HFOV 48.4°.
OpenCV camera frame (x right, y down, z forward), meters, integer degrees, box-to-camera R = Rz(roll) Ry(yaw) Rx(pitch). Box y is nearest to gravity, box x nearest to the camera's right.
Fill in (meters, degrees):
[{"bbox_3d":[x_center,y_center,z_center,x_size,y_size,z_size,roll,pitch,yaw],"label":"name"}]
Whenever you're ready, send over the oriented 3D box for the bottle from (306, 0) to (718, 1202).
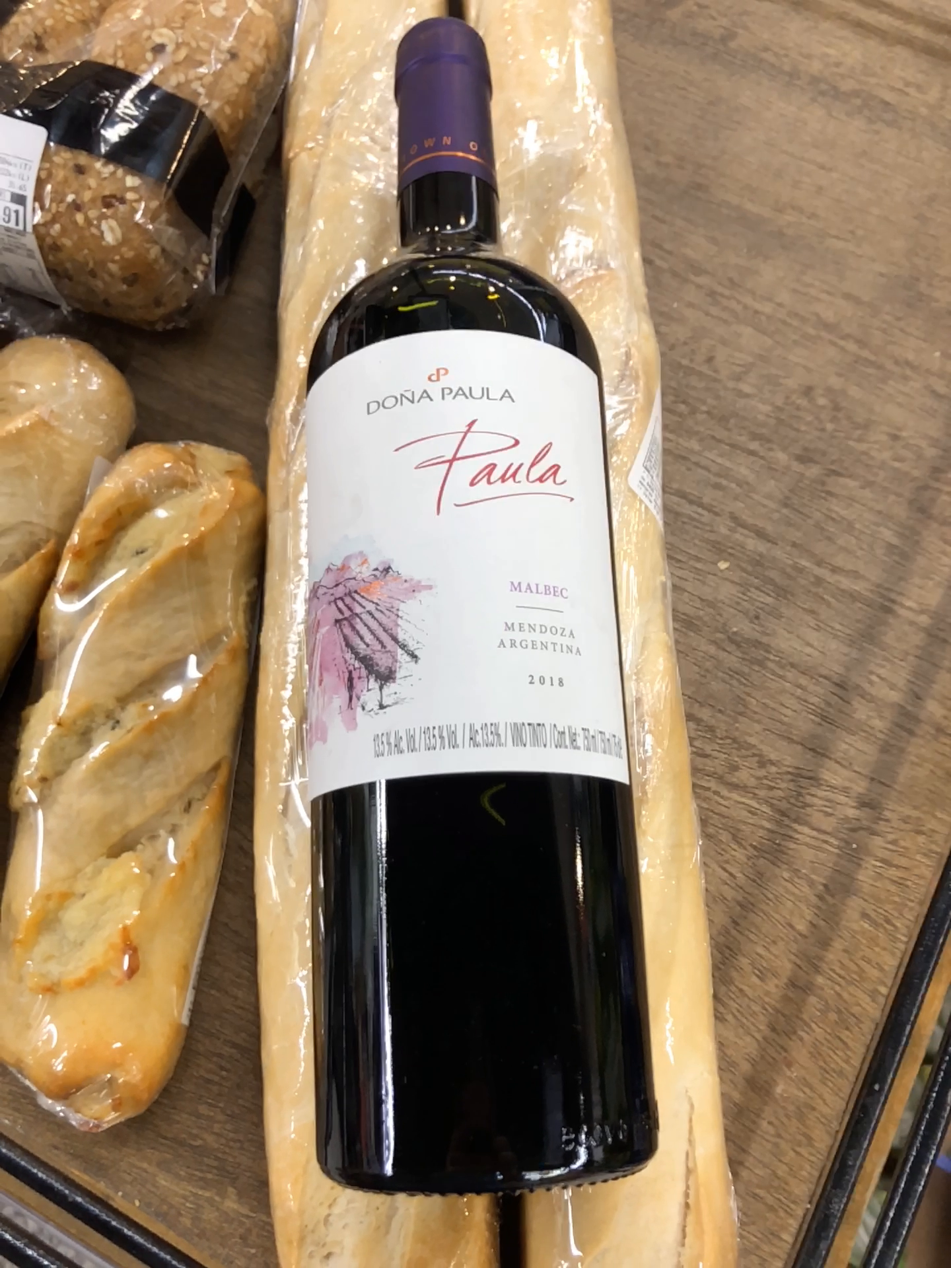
[{"bbox_3d":[-0.001,-0.037,0.258,0.070,0.060,0.301,-3,71,0],"label":"bottle"}]
